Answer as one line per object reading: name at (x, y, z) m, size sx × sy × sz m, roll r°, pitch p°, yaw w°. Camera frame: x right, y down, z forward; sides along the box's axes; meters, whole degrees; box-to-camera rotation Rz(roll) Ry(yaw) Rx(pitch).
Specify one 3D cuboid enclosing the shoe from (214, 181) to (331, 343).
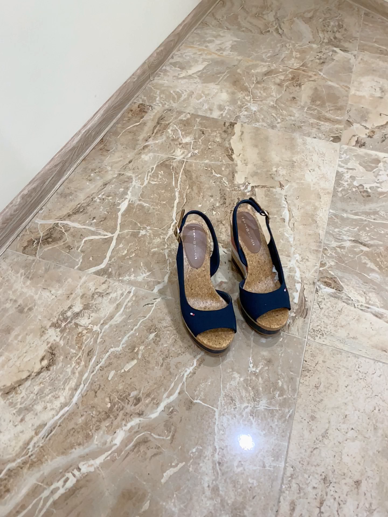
shoe at (0.112, 0.002, 0.650) m, size 0.090 × 0.145 × 0.211 m, roll -11°, pitch 51°, yaw -11°

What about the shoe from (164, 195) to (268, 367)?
shoe at (0.022, 0.031, 0.619) m, size 0.090 × 0.145 × 0.211 m, roll -11°, pitch 51°, yaw -11°
